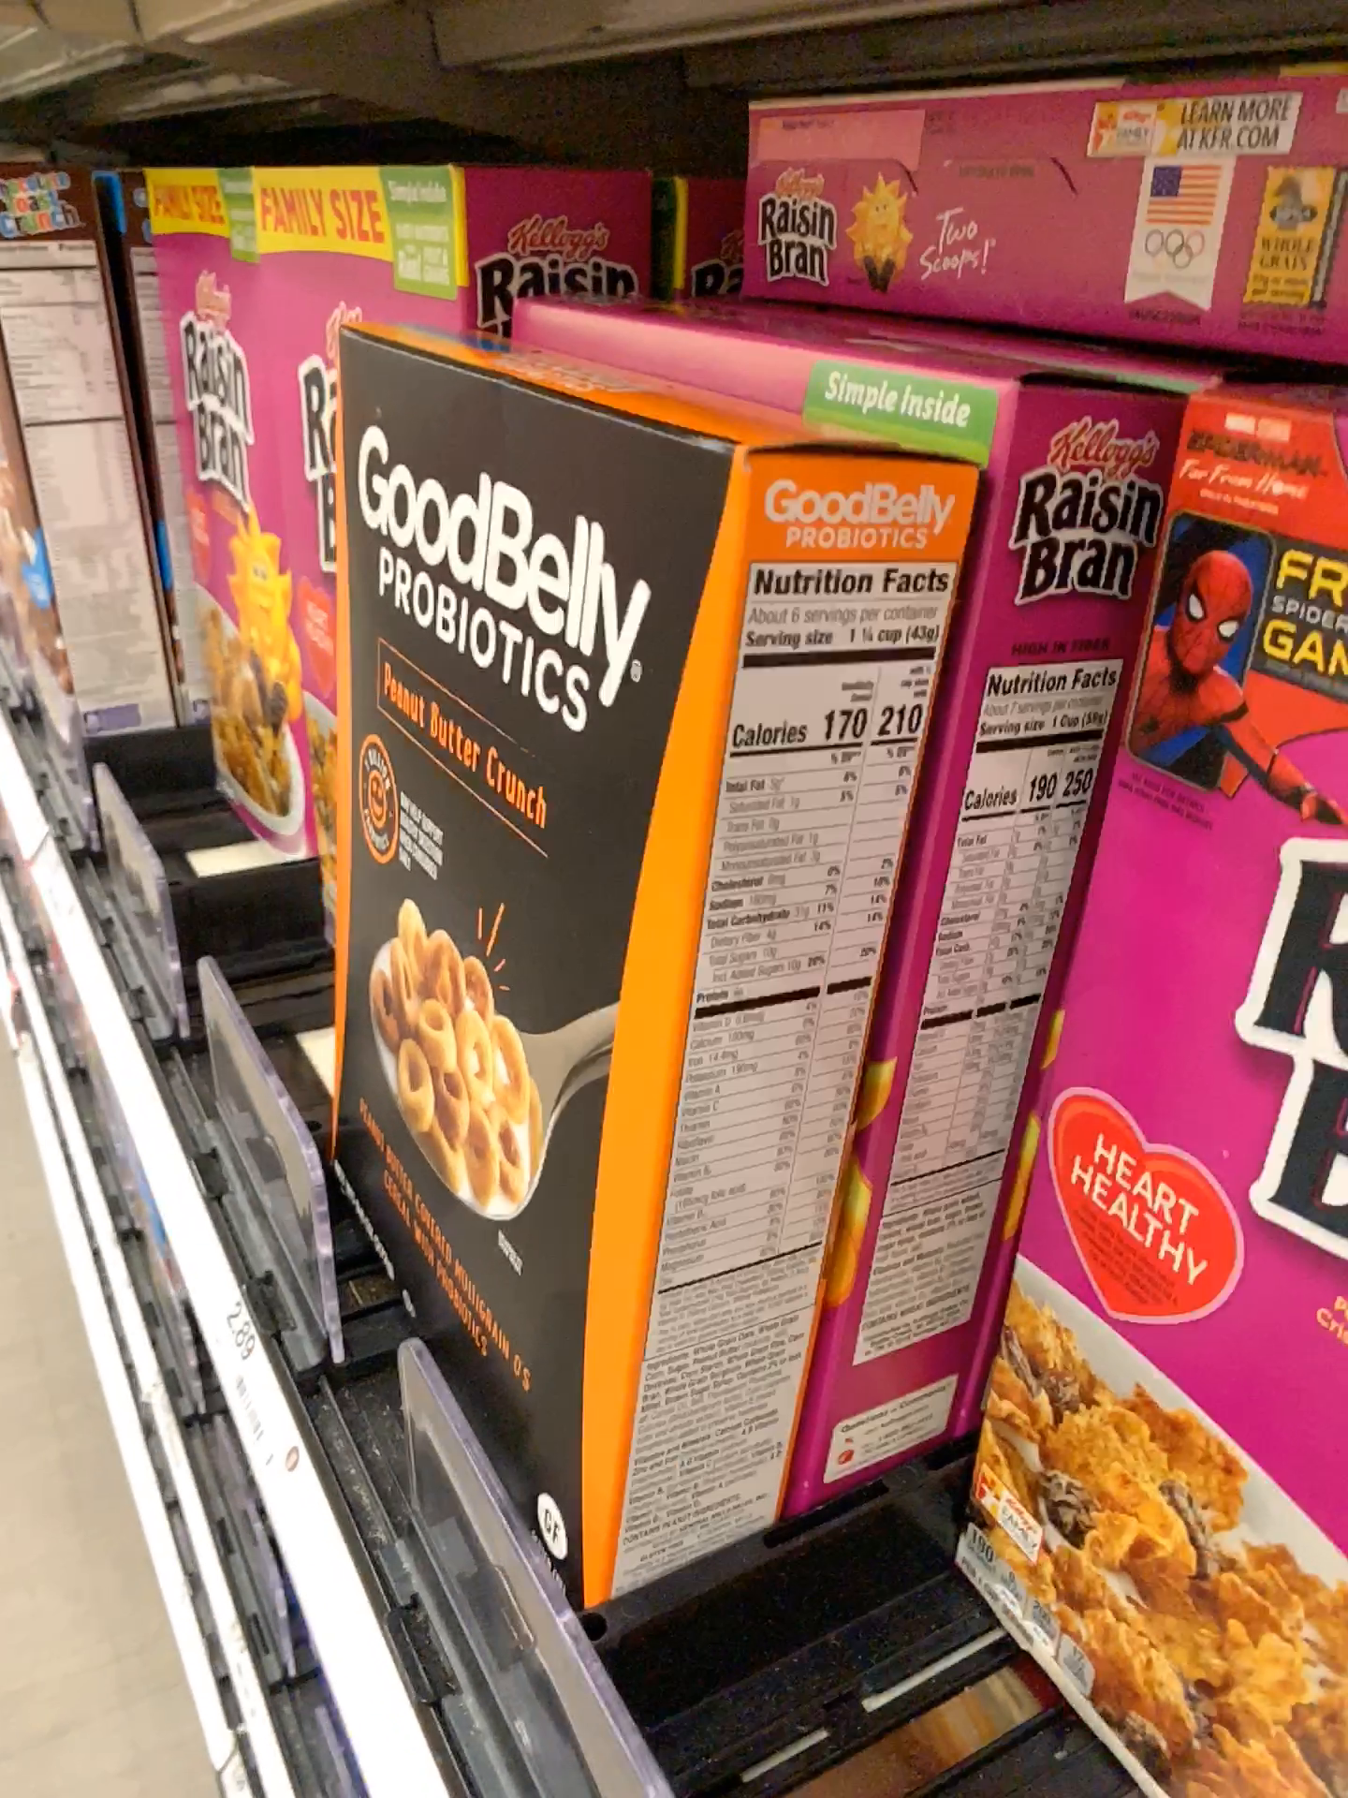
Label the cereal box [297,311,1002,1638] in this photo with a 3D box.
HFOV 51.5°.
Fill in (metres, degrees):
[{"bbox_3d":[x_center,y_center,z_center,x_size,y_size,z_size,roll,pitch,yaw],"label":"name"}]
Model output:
[{"bbox_3d":[-0.034,0.001,0.340,0.050,0.249,0.201,-7,27,-31],"label":"cereal box"}]
